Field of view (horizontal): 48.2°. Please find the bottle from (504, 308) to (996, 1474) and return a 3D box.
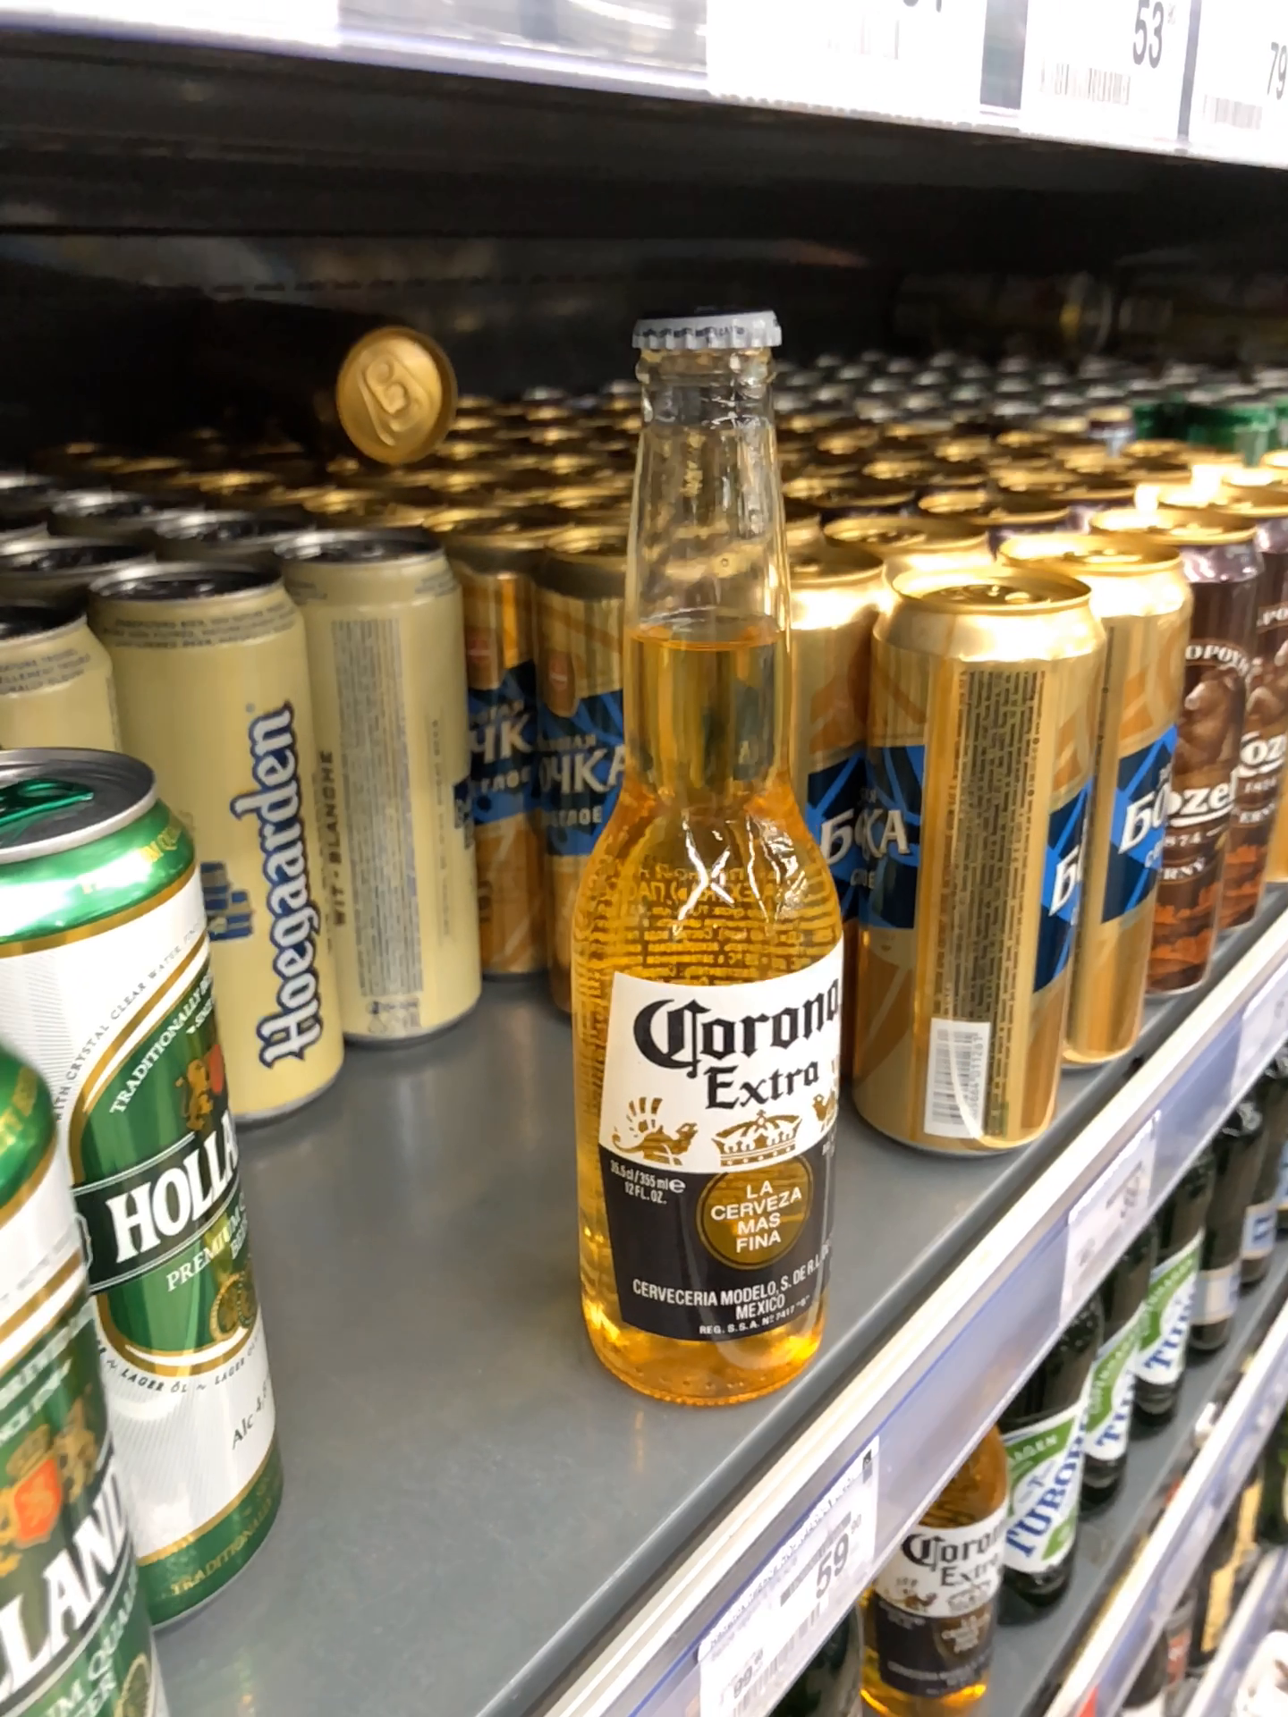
[{"bbox_3d":[0.018,0.010,0.311,0.070,0.237,0.060,-11,25,-24],"label":"bottle"}]
